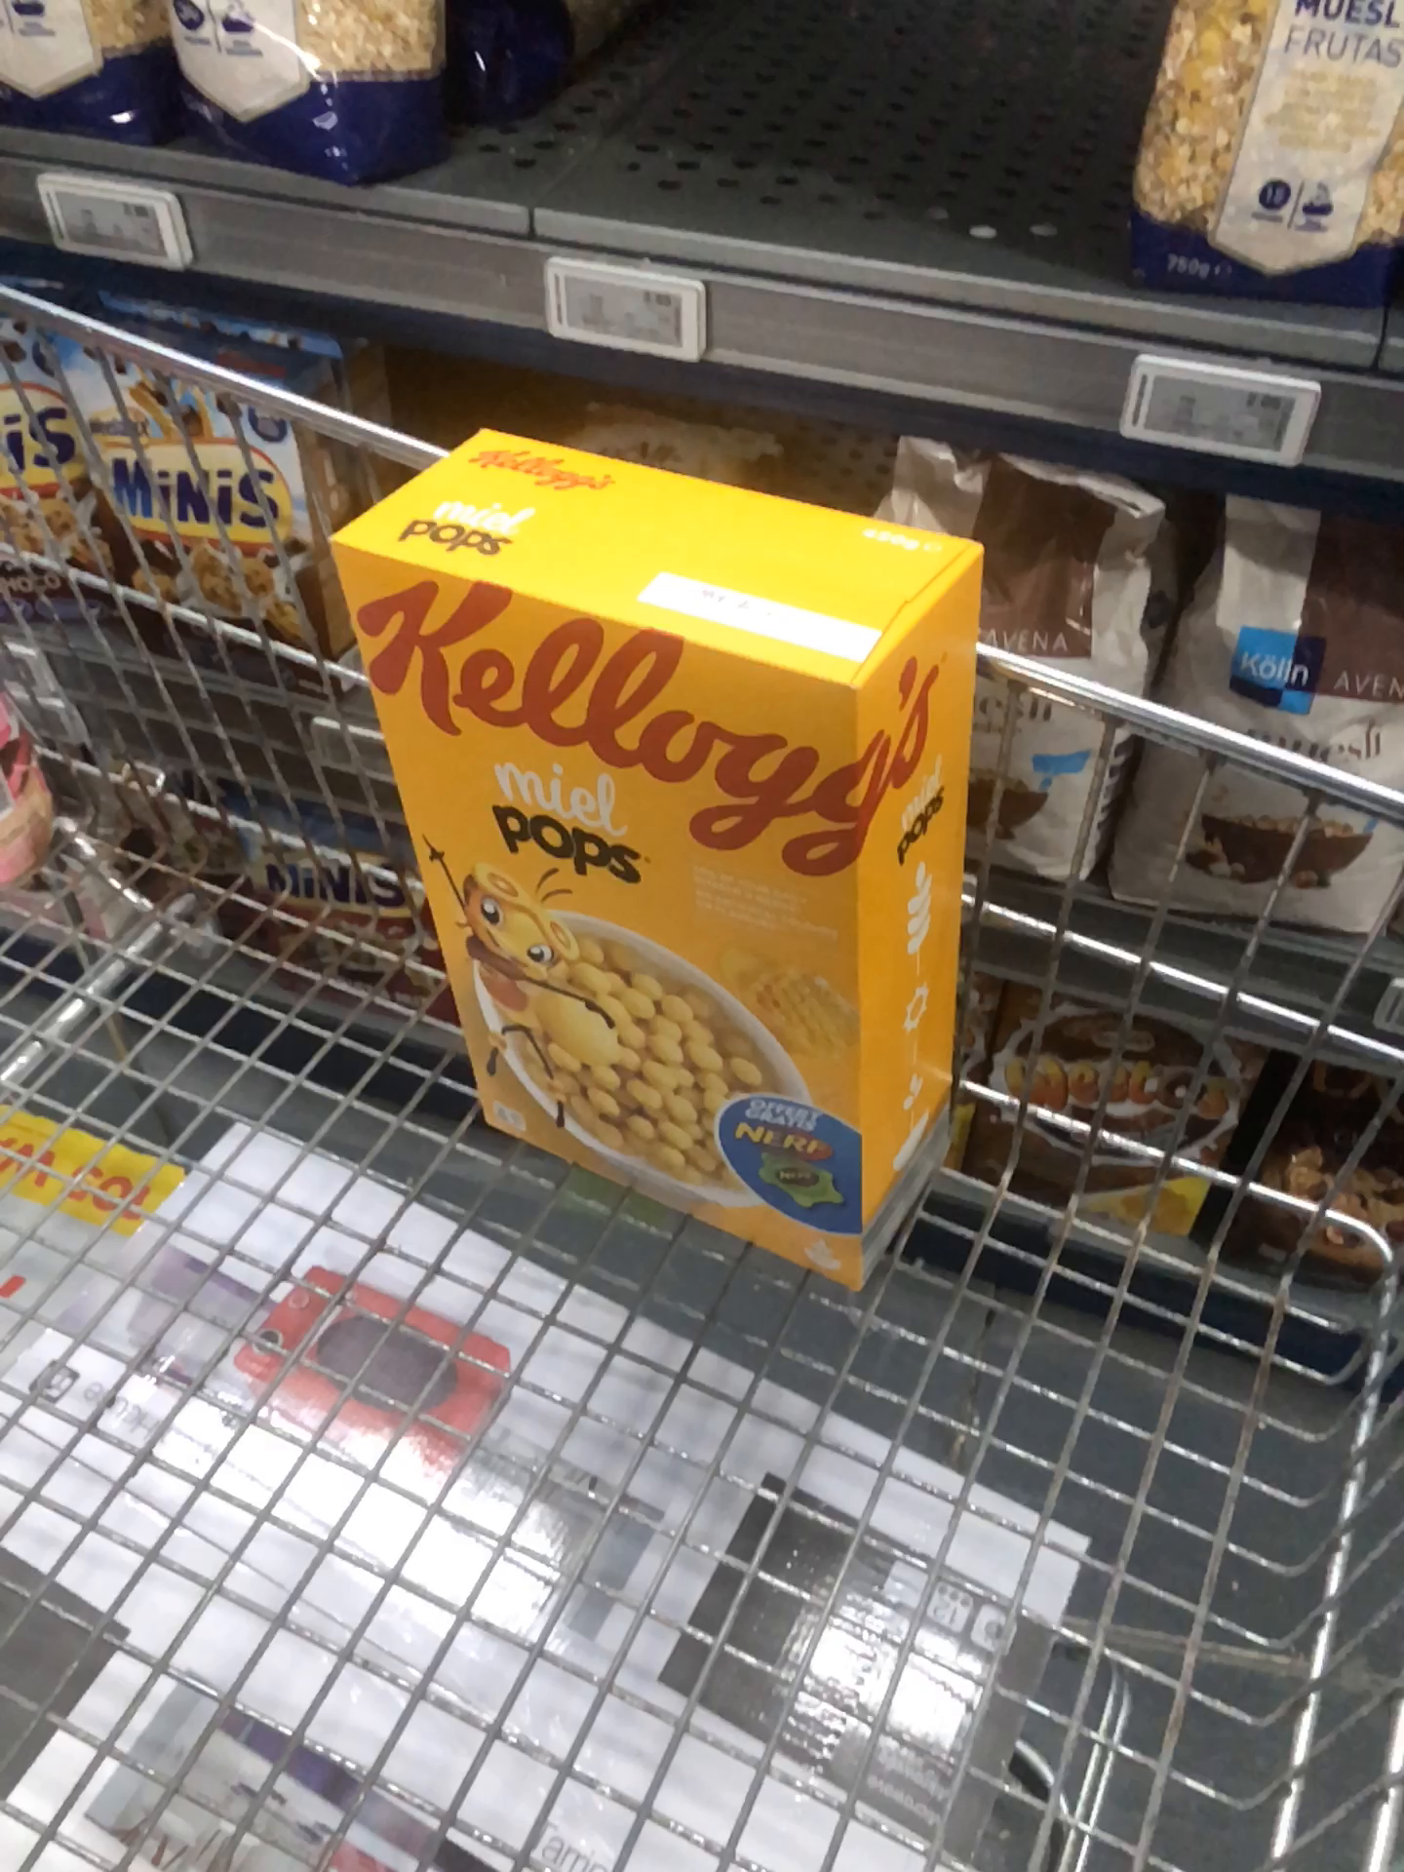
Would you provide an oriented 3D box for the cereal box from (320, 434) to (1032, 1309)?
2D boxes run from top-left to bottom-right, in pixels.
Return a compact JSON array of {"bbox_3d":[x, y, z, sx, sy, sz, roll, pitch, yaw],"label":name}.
[{"bbox_3d":[-0.006,-0.015,0.571,0.200,0.279,0.090,19,47,21],"label":"cereal box"}]
